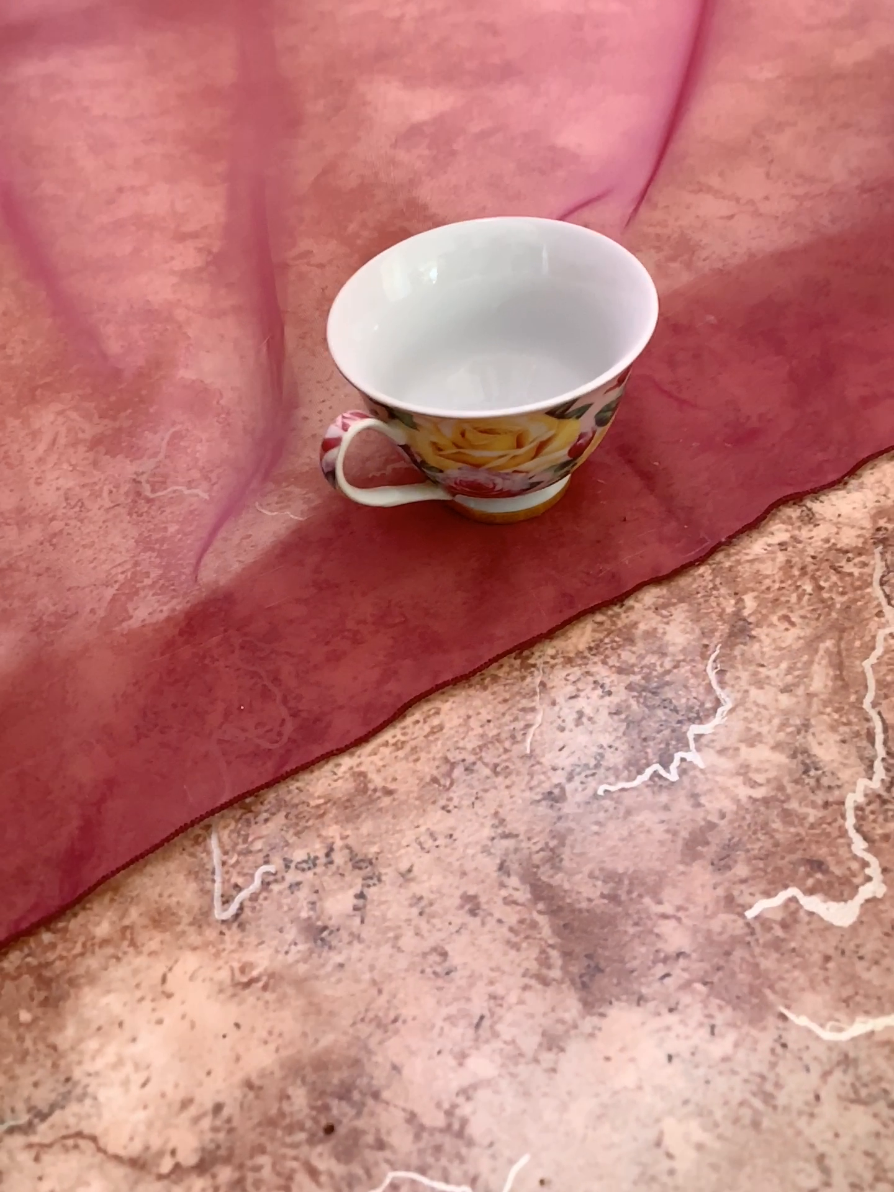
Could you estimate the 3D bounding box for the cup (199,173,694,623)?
[{"bbox_3d":[0.001,-0.062,0.272,0.109,0.060,0.078,-30,54,-16],"label":"cup"}]
